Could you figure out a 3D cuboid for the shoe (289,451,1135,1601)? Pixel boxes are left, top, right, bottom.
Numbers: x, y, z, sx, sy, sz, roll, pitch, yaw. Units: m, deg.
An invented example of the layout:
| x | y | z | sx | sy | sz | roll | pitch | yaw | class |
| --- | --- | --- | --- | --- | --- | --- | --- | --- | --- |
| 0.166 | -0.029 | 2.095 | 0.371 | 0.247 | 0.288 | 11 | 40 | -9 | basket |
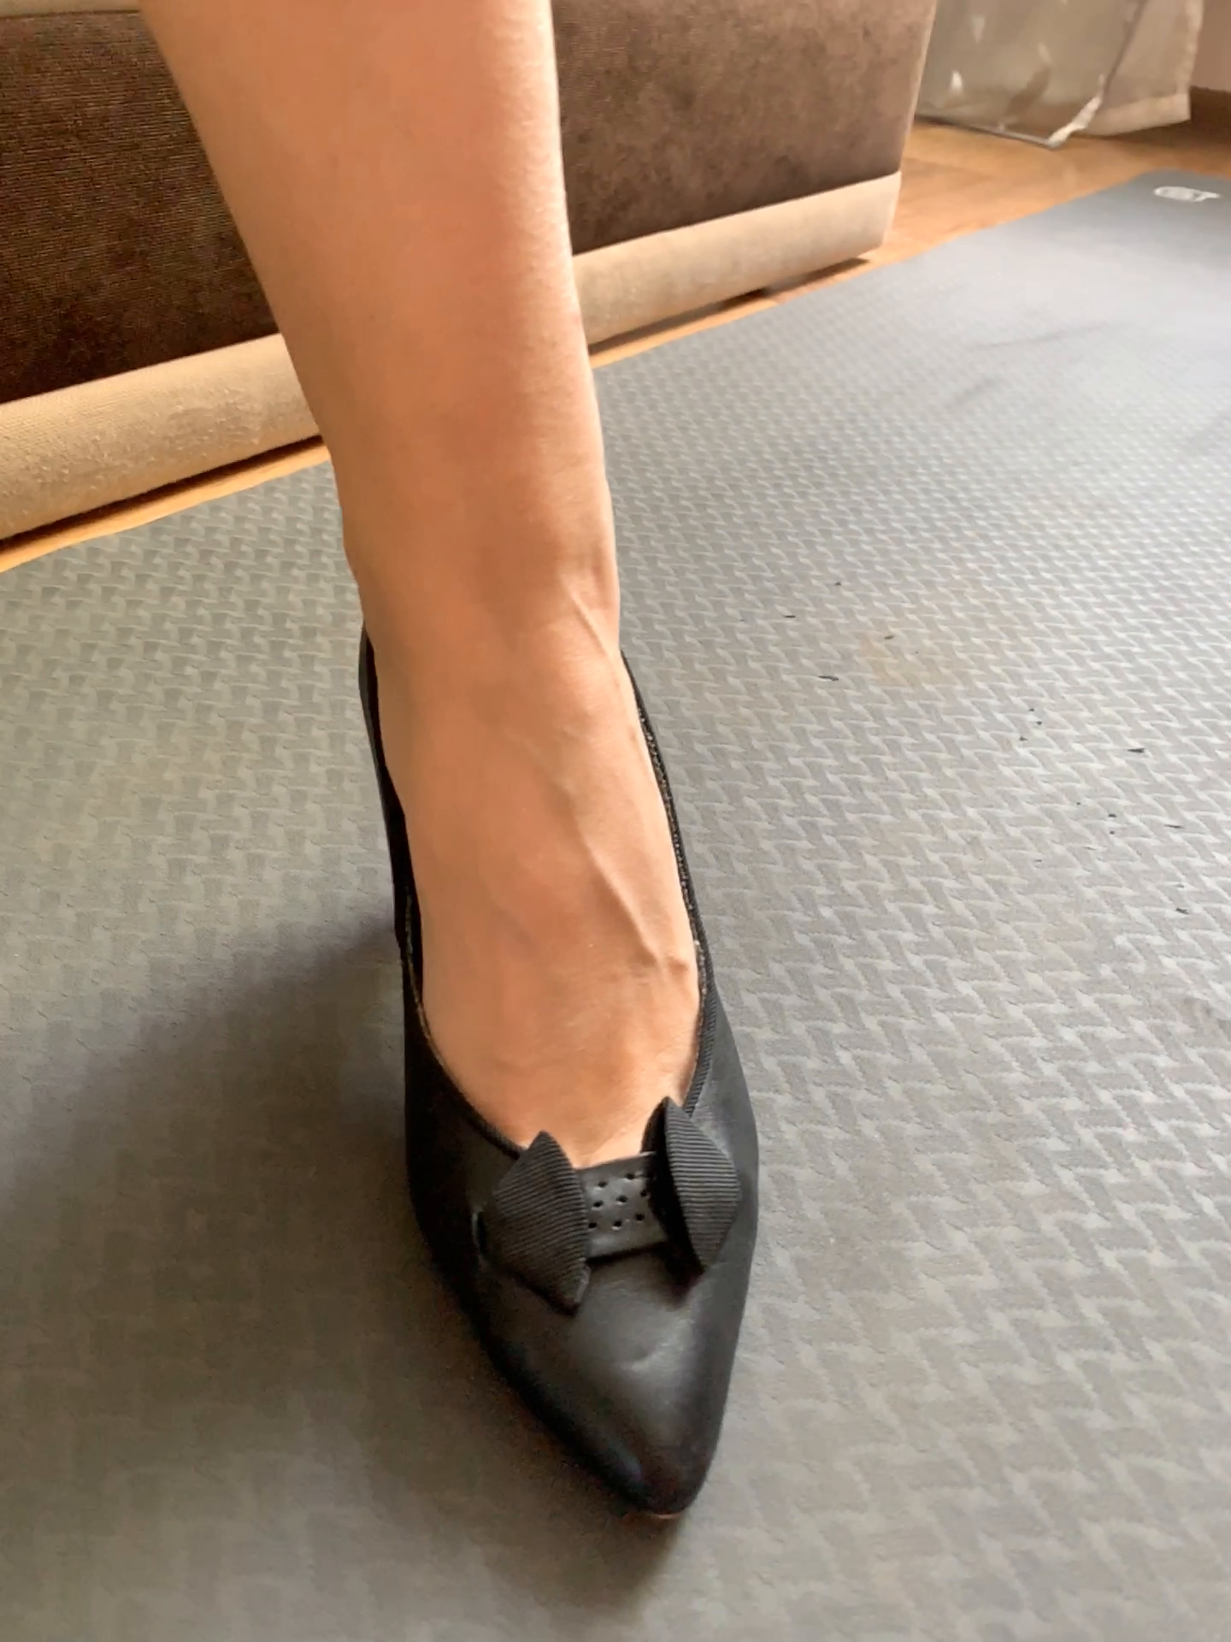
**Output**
| x | y | z | sx | sy | sz | roll | pitch | yaw | class |
| --- | --- | --- | --- | --- | --- | --- | --- | --- | --- |
| -0.010 | 0.013 | 0.276 | 0.090 | 0.099 | 0.231 | -7 | 39 | -16 | shoe |
